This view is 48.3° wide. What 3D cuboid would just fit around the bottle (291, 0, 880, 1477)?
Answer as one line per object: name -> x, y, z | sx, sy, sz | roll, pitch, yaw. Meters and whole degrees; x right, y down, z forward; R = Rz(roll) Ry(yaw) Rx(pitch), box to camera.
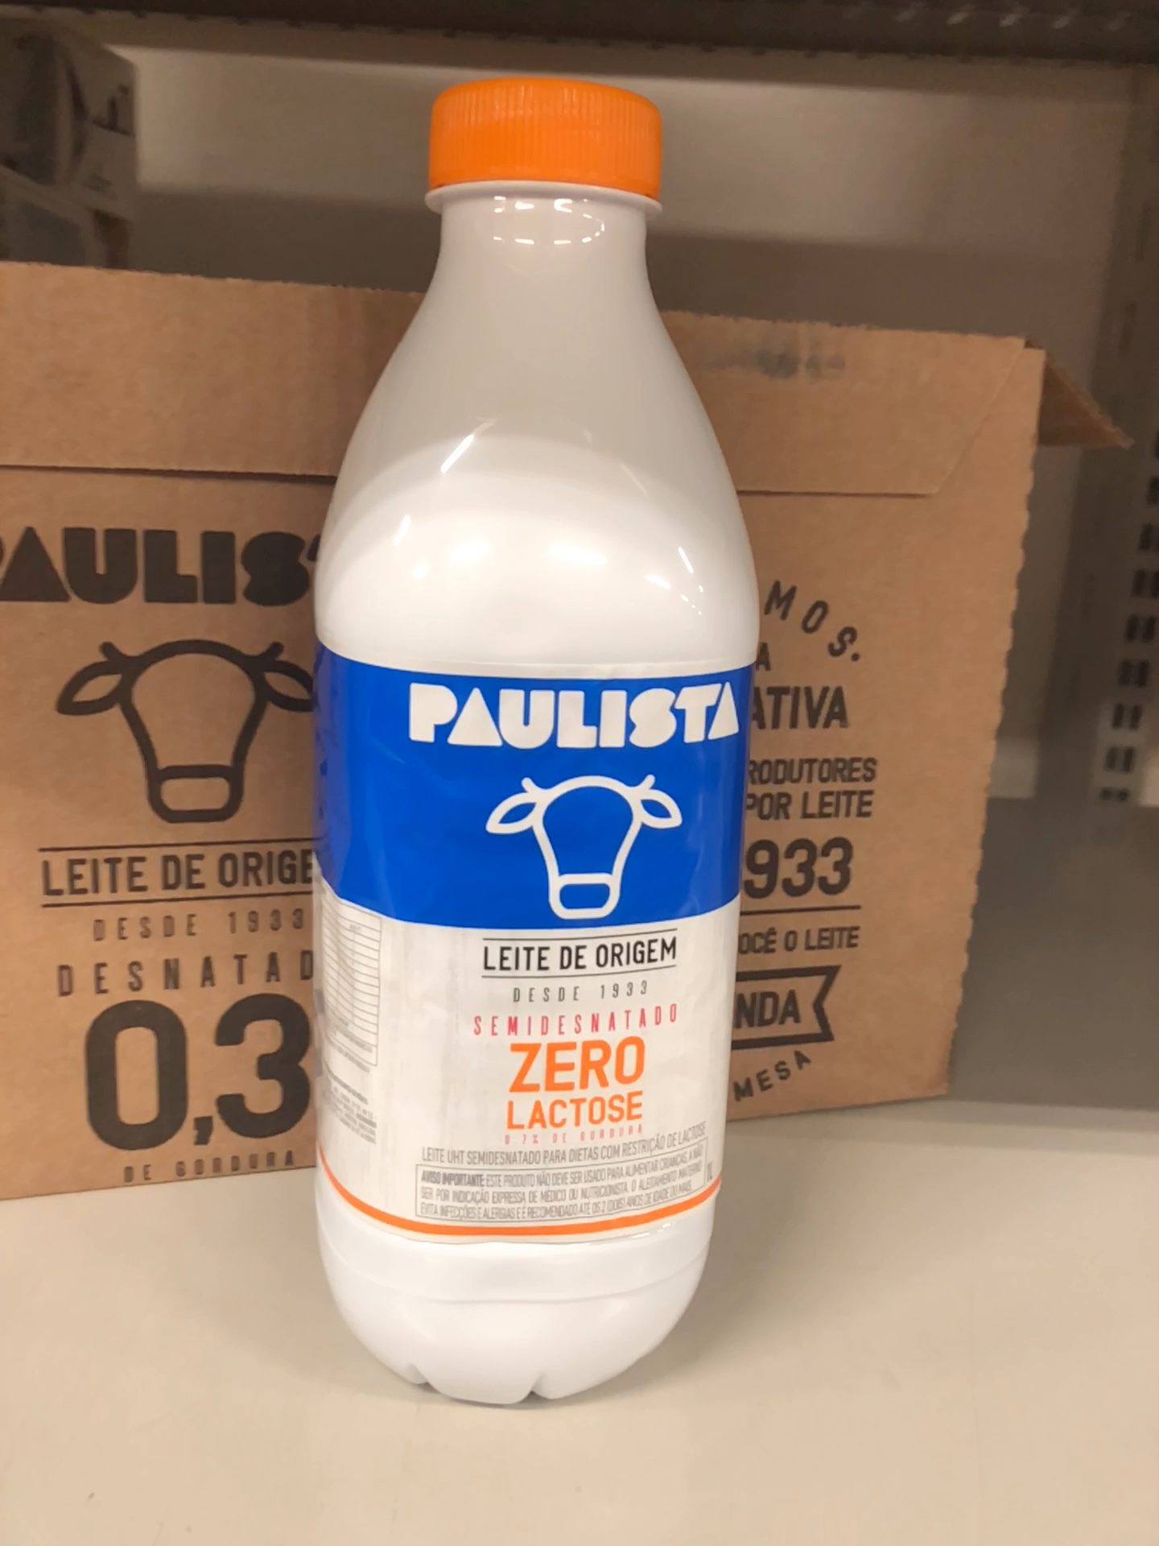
bottle -> -0.010, -0.003, 0.237 | 0.080, 0.229, 0.080 | 2, 14, -1
